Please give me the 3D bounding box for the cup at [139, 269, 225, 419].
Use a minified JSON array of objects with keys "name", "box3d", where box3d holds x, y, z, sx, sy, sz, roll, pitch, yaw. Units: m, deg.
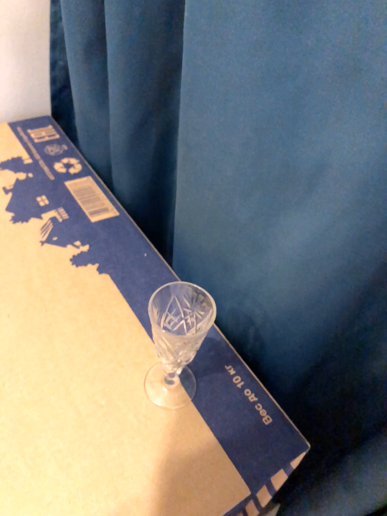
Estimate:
[{"name":"cup","box3d":[-0.013,0.070,0.328,0.051,0.118,0.054,3,47,-3]}]
